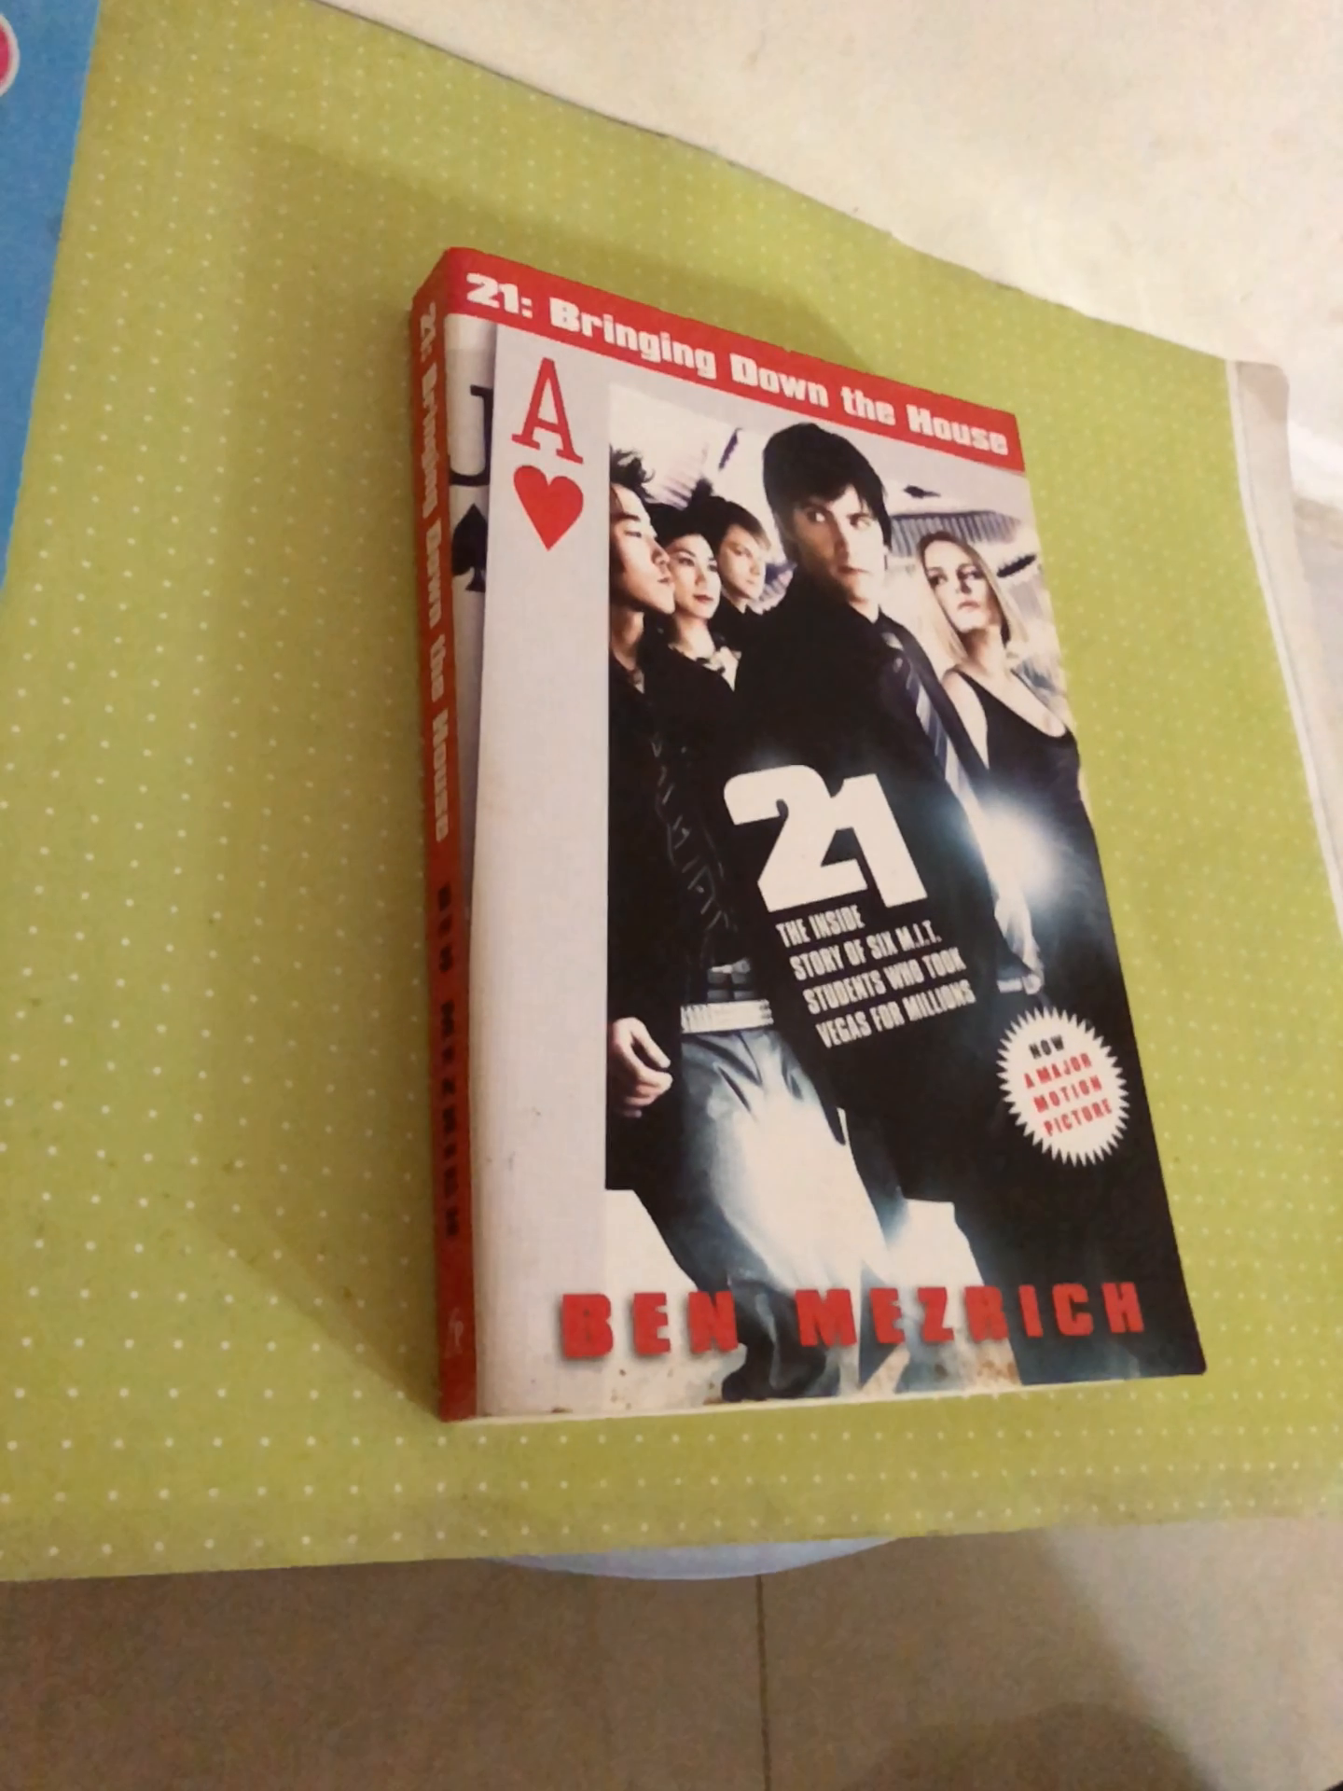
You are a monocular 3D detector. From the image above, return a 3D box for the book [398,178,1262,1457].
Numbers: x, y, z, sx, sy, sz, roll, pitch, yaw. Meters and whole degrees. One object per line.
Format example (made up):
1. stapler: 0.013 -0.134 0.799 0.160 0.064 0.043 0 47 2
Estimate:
1. book: 0.021 -0.016 0.272 0.130 0.040 0.210 6 67 -26
